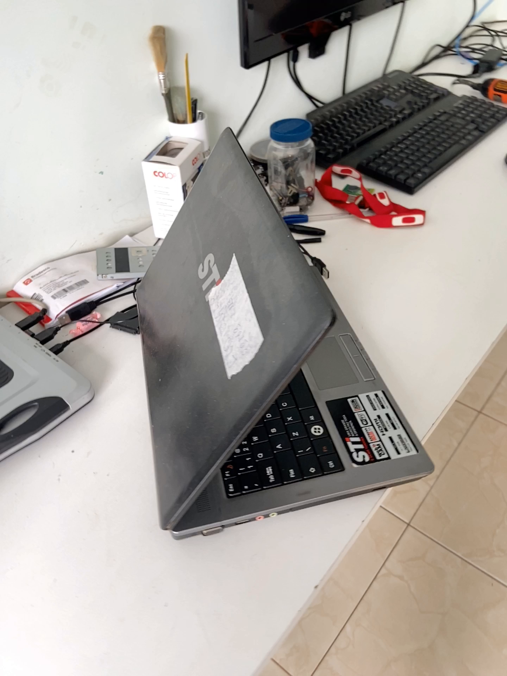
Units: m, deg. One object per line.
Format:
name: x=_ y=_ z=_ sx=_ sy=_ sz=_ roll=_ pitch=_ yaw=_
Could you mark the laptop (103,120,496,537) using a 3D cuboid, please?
laptop: x=0.005 y=-0.040 z=0.509 sx=0.241 sy=0.200 sz=0.343 roll=-11 pitch=42 yaw=-8
